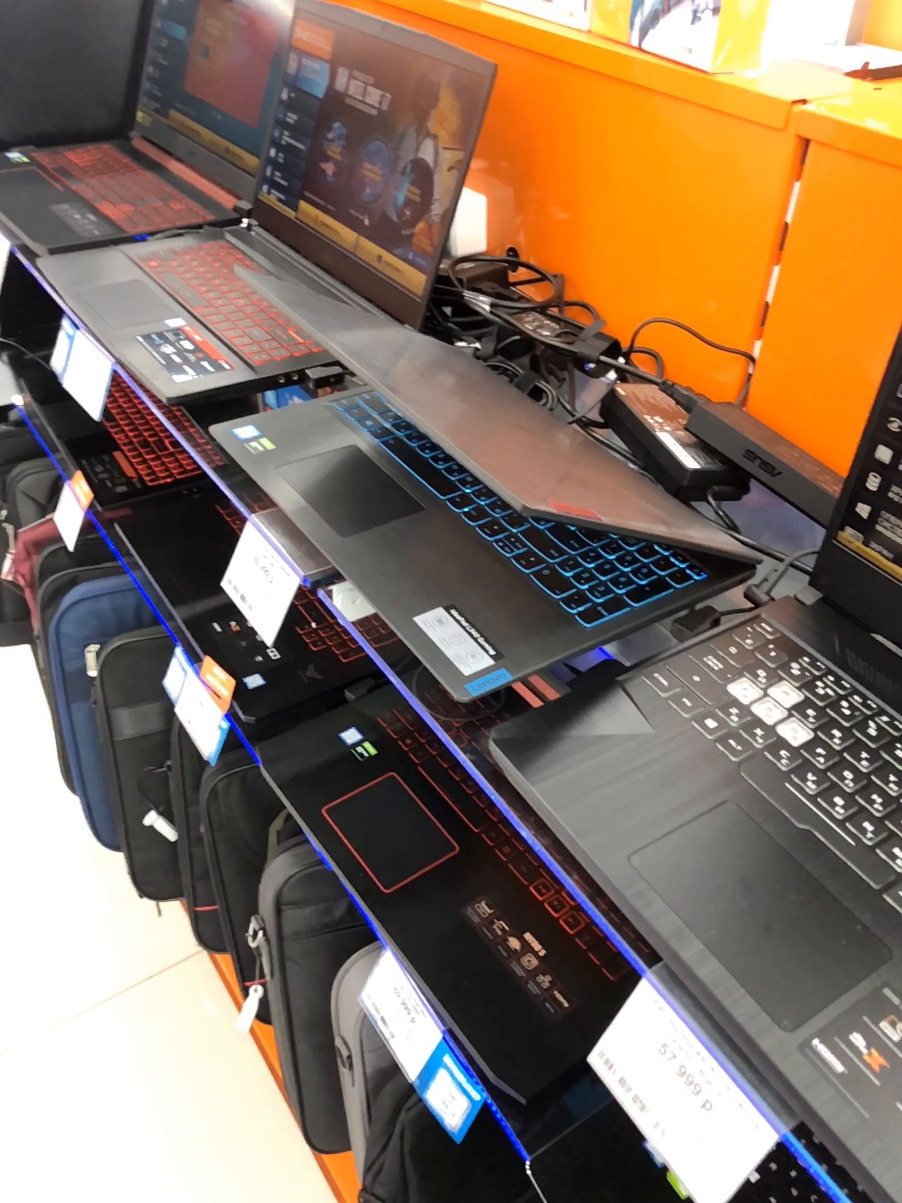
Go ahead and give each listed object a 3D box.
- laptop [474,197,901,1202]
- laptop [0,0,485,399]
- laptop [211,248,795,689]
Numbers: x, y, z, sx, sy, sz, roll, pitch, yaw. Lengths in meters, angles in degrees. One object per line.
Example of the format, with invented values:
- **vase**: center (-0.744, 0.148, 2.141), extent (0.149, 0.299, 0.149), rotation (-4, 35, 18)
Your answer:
- **laptop**: center (0.242, 0.031, 0.405), extent (0.277, 0.250, 0.385), rotation (-19, 43, -26)
- **laptop**: center (-0.202, -0.414, 0.960), extent (0.326, 0.228, 0.349), rotation (-21, 45, -28)
- **laptop**: center (0.015, -0.125, 0.704), extent (0.241, 0.118, 0.349), rotation (-20, 42, -26)
